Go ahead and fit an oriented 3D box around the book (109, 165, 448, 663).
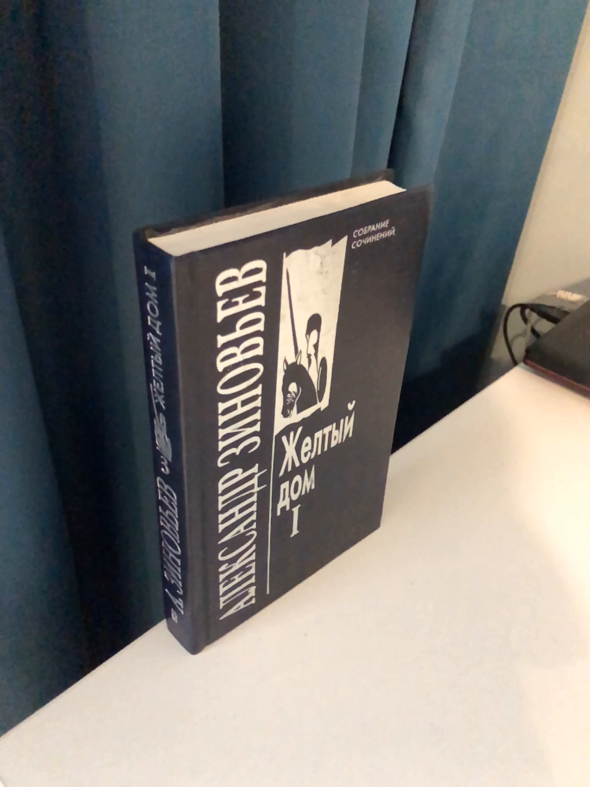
[{"bbox_3d":[-0.004,0.014,0.307,0.141,0.210,0.032,-25,45,-34],"label":"book"}]
